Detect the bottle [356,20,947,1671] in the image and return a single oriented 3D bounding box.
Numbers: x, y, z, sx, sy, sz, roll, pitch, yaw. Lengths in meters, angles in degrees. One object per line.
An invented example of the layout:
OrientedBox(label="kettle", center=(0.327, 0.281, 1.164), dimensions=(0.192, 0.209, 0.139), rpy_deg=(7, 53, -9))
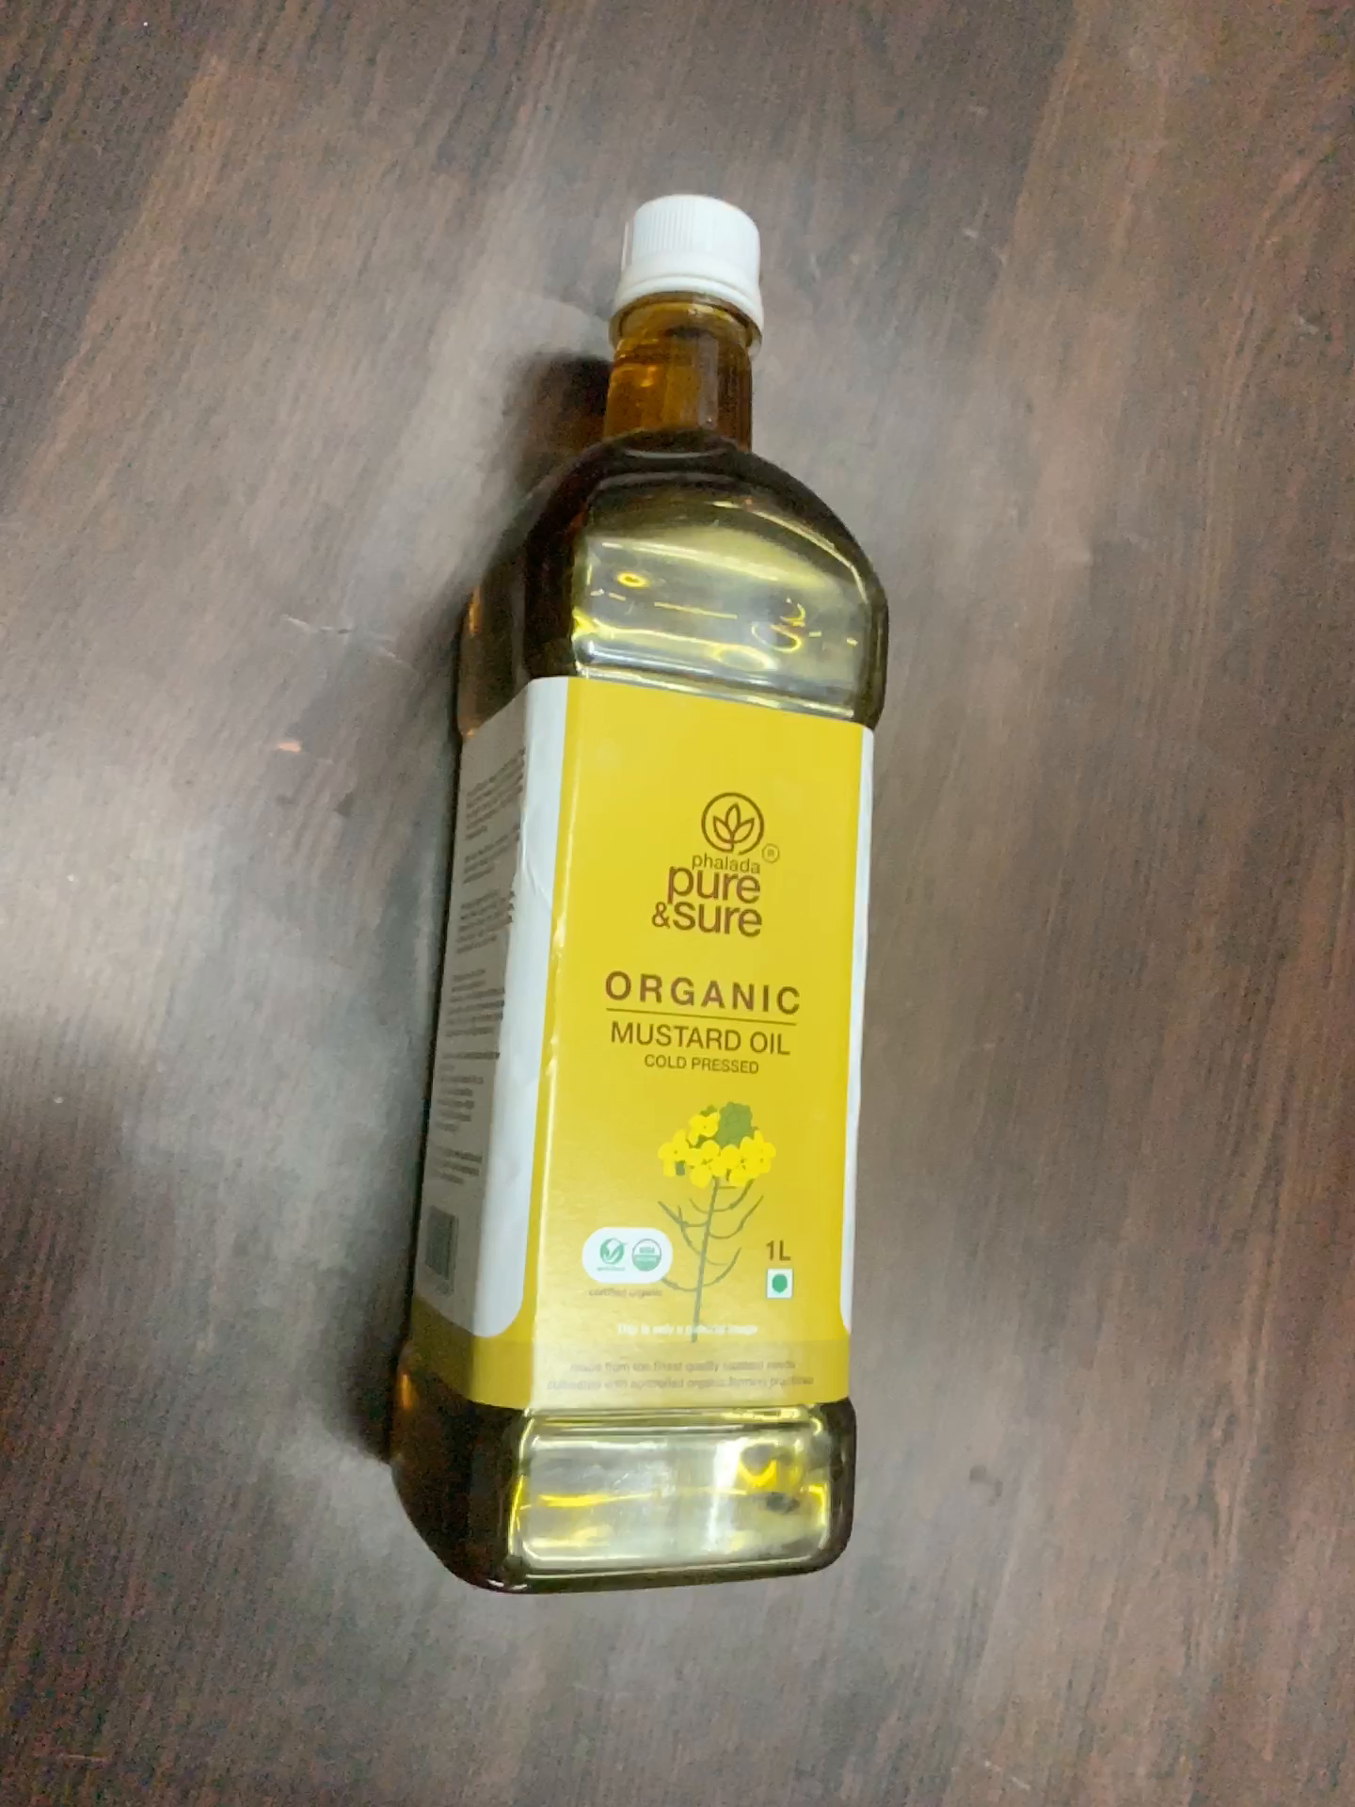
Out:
OrientedBox(label="bottle", center=(-0.006, -0.012, 0.277), dimensions=(0.080, 0.080, 0.270), rpy_deg=(6, 82, -20))
